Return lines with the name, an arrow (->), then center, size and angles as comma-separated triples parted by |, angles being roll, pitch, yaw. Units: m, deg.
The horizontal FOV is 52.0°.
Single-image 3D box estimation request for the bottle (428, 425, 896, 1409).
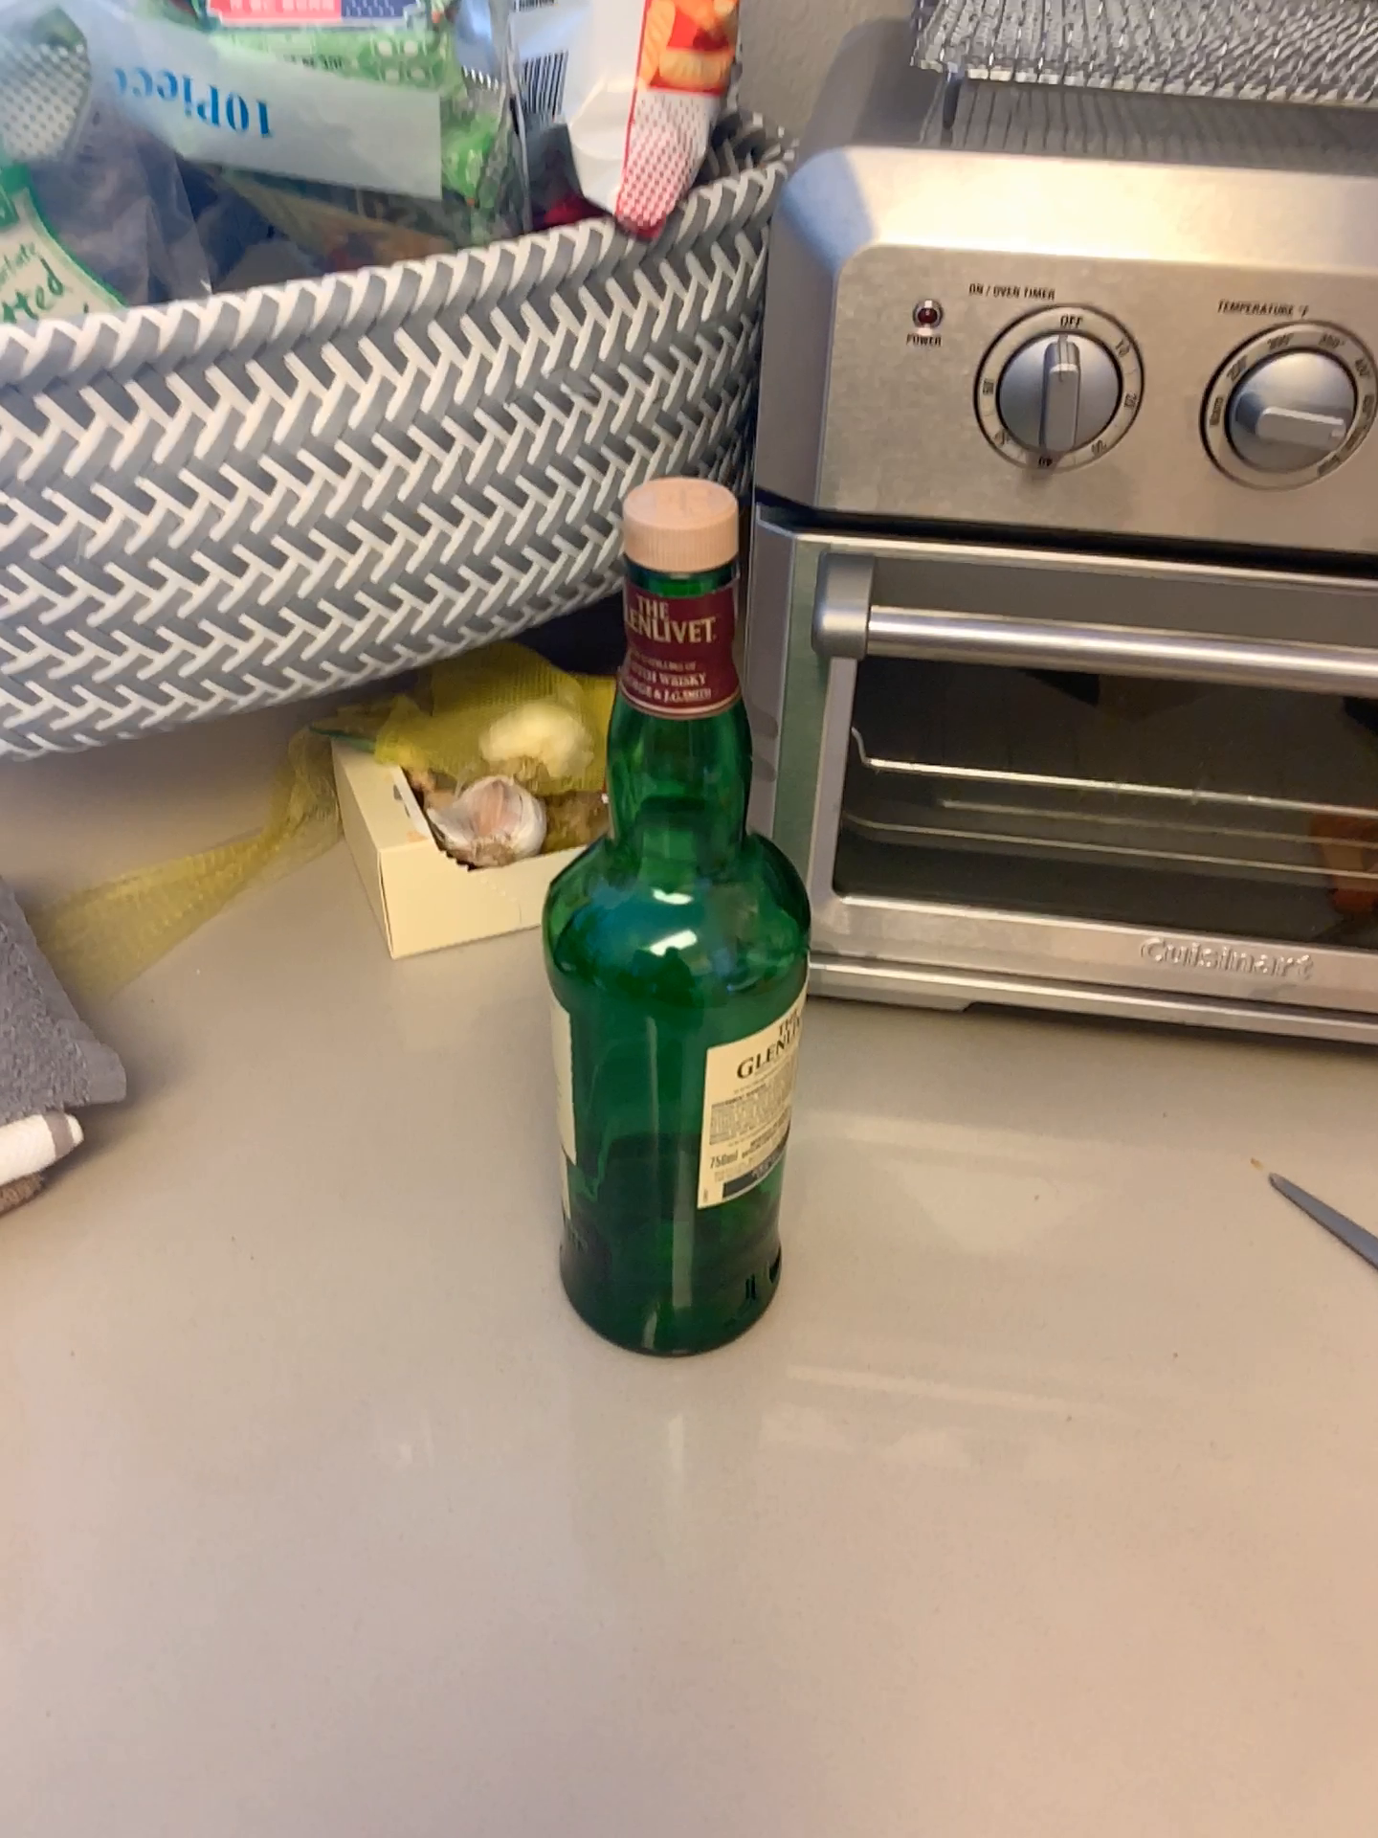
bottle -> -0.007, 0.015, 0.411 | 0.080, 0.278, 0.080 | 1, 38, -1
